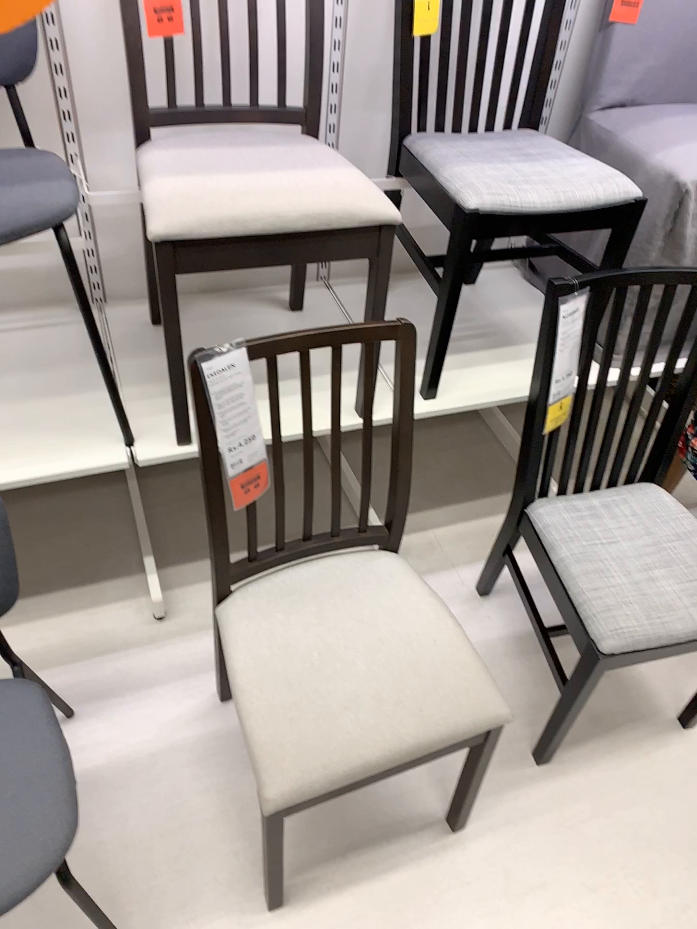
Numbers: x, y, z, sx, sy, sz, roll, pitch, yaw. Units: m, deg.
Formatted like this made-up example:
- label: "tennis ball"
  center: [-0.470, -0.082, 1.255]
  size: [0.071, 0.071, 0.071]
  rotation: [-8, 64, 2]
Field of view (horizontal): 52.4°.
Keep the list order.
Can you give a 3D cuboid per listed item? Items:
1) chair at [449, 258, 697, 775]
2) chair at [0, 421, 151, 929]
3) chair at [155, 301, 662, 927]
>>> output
- label: "chair"
  center: [0.607, 0.134, 1.473]
  size: [0.480, 0.916, 0.532]
  rotation: [-7, 44, -14]
- label: "chair"
  center: [-0.701, 0.485, 1.062]
  size: [0.570, 0.787, 0.612]
  rotation: [-15, 47, -21]
- label: "chair"
  center: [0.007, 0.286, 1.231]
  size: [0.480, 0.916, 0.532]
  rotation: [-12, 46, -19]
